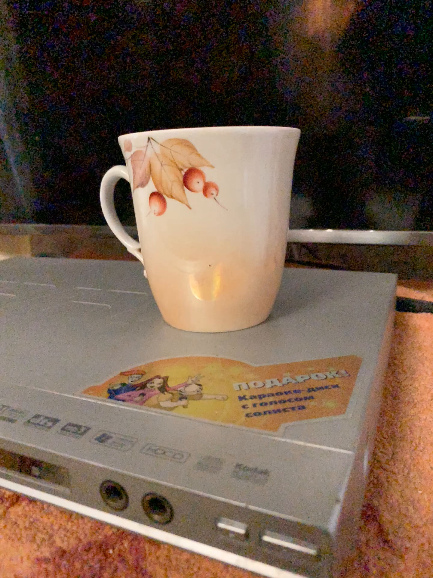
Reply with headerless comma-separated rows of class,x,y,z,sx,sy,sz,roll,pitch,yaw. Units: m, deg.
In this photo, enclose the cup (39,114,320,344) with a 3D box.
cup,-0.011,-0.037,0.246,0.113,0.091,0.100,4,15,23
